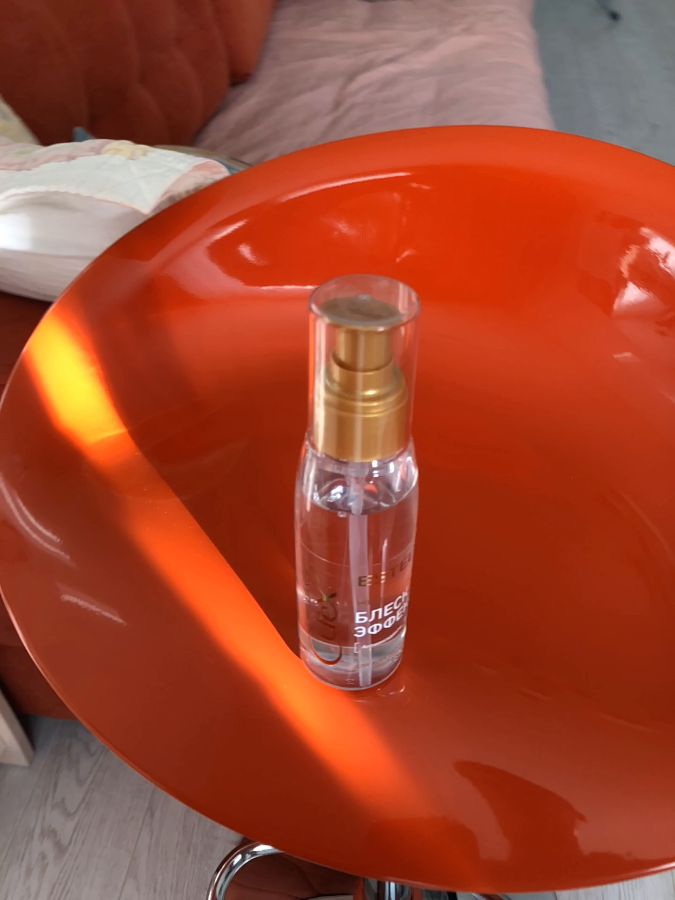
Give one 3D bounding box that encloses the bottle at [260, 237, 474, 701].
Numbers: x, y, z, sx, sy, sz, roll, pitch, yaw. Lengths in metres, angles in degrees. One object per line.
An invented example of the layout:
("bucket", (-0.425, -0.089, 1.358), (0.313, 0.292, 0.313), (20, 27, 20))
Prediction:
("bottle", (0.006, 0.014, 0.243), (0.050, 0.149, 0.050), (-1, 38, 1))
